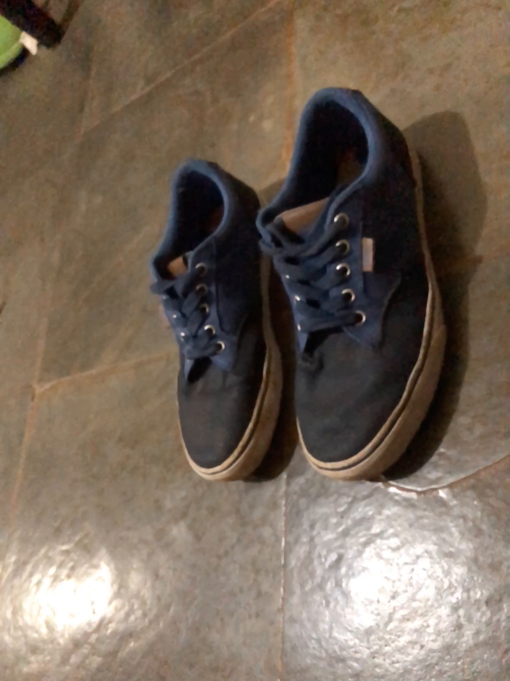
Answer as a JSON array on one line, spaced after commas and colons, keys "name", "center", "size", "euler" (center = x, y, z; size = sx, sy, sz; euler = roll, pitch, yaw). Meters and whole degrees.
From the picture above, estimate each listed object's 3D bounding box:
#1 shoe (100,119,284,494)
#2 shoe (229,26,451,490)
[{"name": "shoe", "center": [-0.044, -0.025, 0.469], "size": [0.110, 0.080, 0.281], "euler": [-16, 63, 36]}, {"name": "shoe", "center": [0.067, -0.053, 0.396], "size": [0.110, 0.080, 0.291], "euler": [-8, 67, 39]}]
